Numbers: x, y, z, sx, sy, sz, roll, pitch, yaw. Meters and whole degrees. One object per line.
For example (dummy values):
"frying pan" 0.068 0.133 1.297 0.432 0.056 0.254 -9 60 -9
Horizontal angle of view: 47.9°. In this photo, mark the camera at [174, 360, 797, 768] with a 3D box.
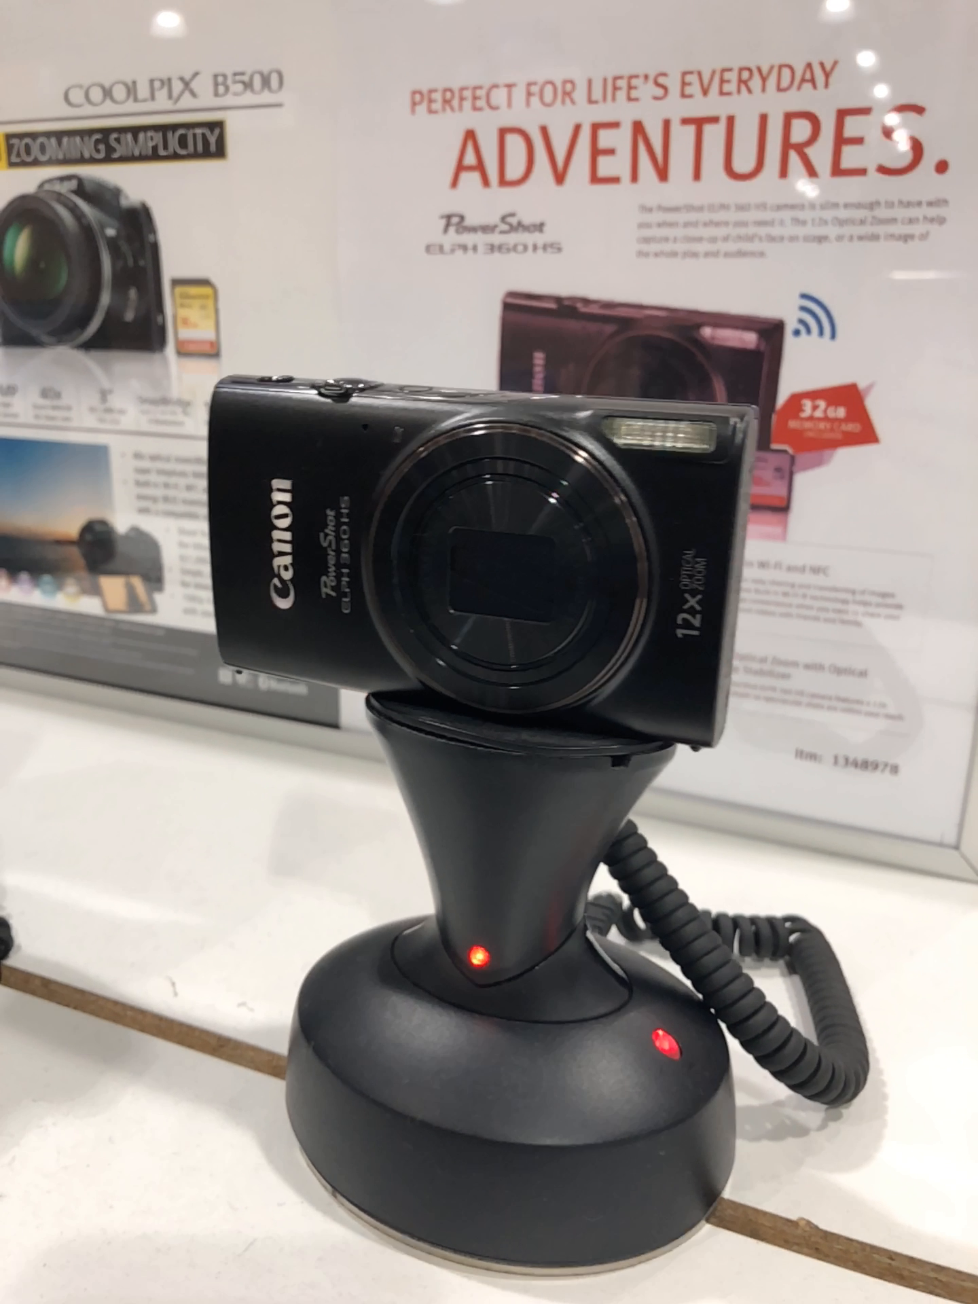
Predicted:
"camera" -0.003 -0.021 0.208 0.110 0.060 0.030 9 19 22
